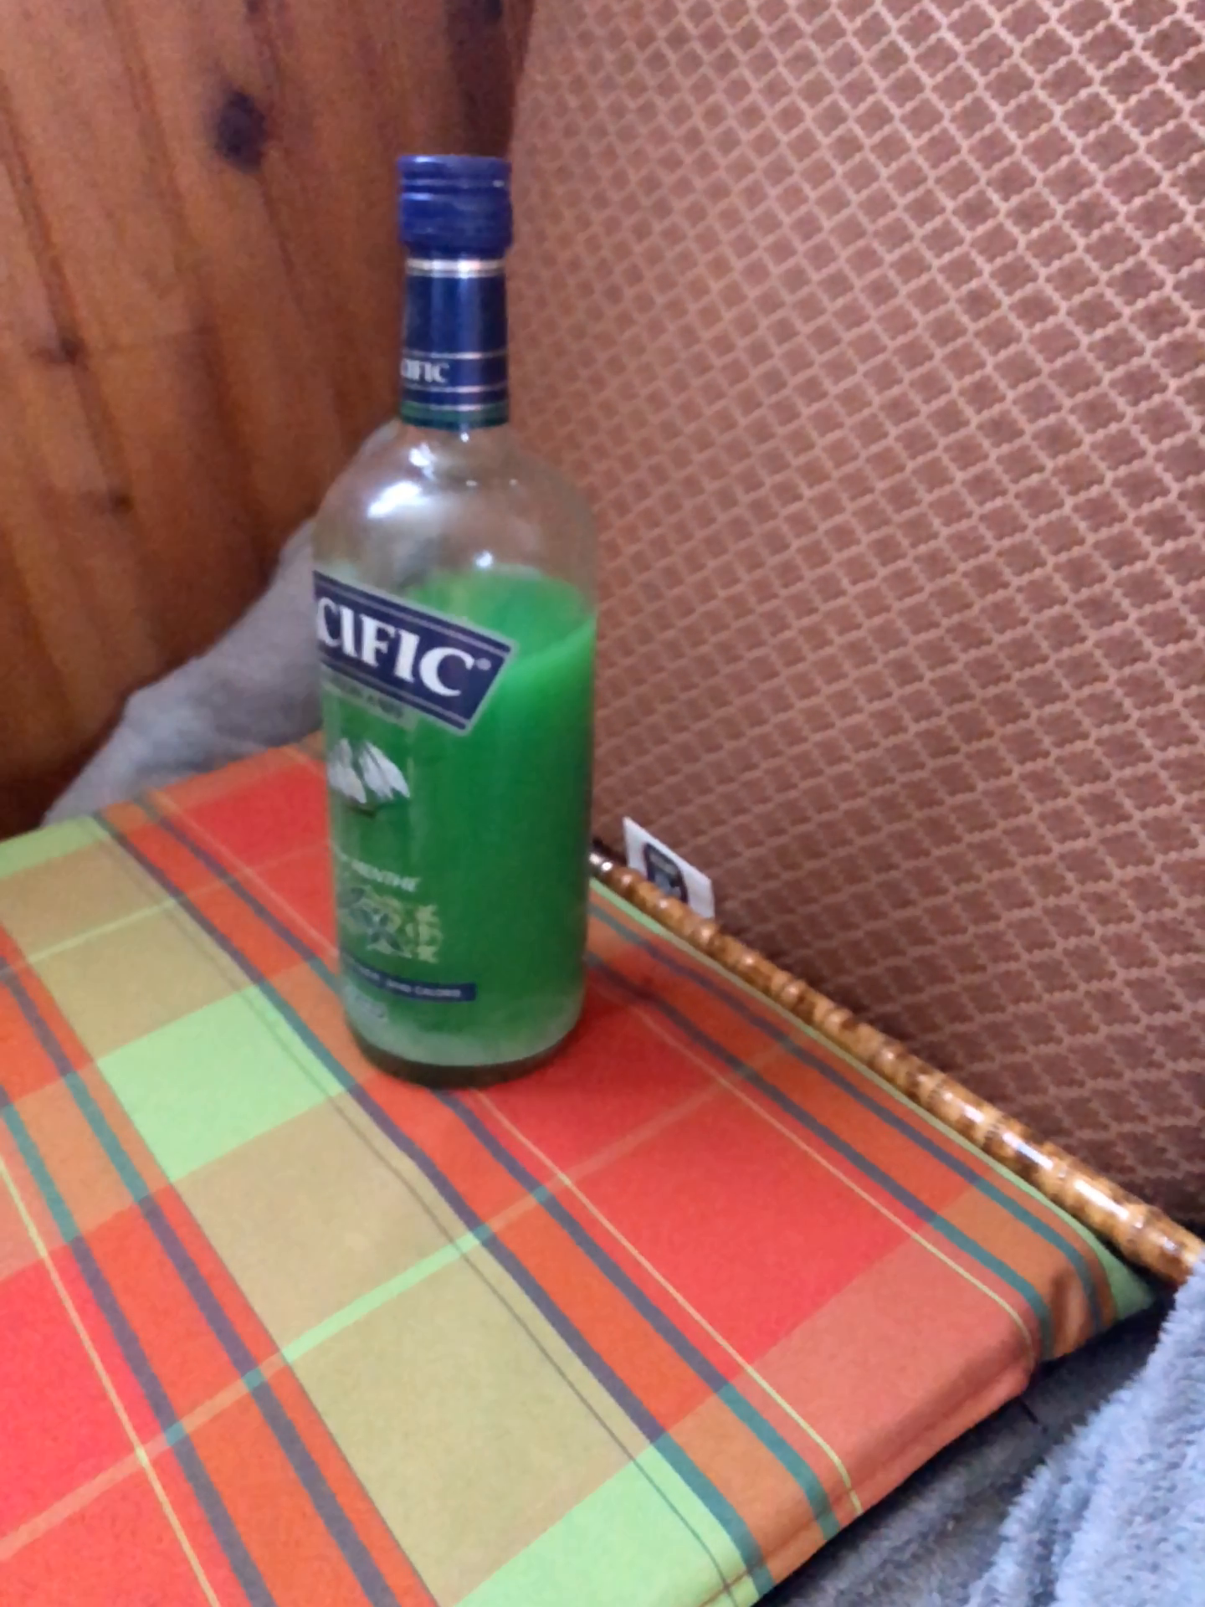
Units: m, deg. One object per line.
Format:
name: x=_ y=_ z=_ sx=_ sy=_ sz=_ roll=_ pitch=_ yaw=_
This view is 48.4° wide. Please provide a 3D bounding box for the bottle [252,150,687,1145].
bottle: x=-0.041 y=-0.047 z=0.429 sx=0.090 sy=0.289 sz=0.080 roll=23 pitch=32 yaw=39
